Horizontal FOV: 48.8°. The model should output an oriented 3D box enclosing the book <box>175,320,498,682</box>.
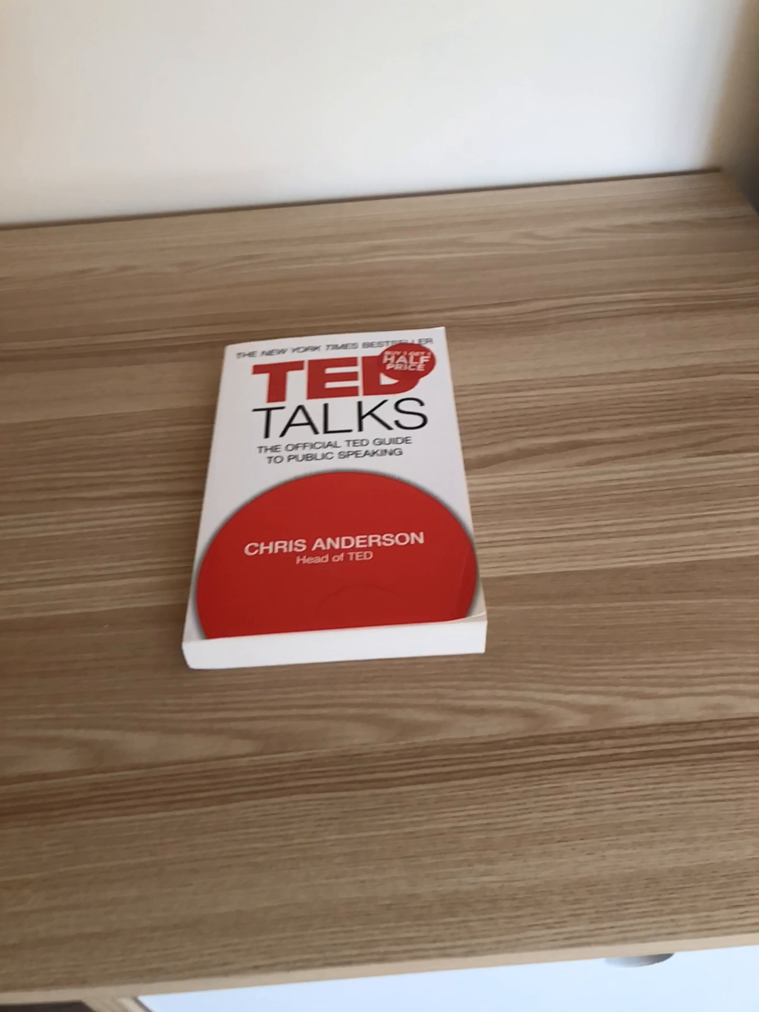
[{"bbox_3d":[-0.022,-0.016,0.441,0.138,0.030,0.221,-4,48,1],"label":"book"}]
